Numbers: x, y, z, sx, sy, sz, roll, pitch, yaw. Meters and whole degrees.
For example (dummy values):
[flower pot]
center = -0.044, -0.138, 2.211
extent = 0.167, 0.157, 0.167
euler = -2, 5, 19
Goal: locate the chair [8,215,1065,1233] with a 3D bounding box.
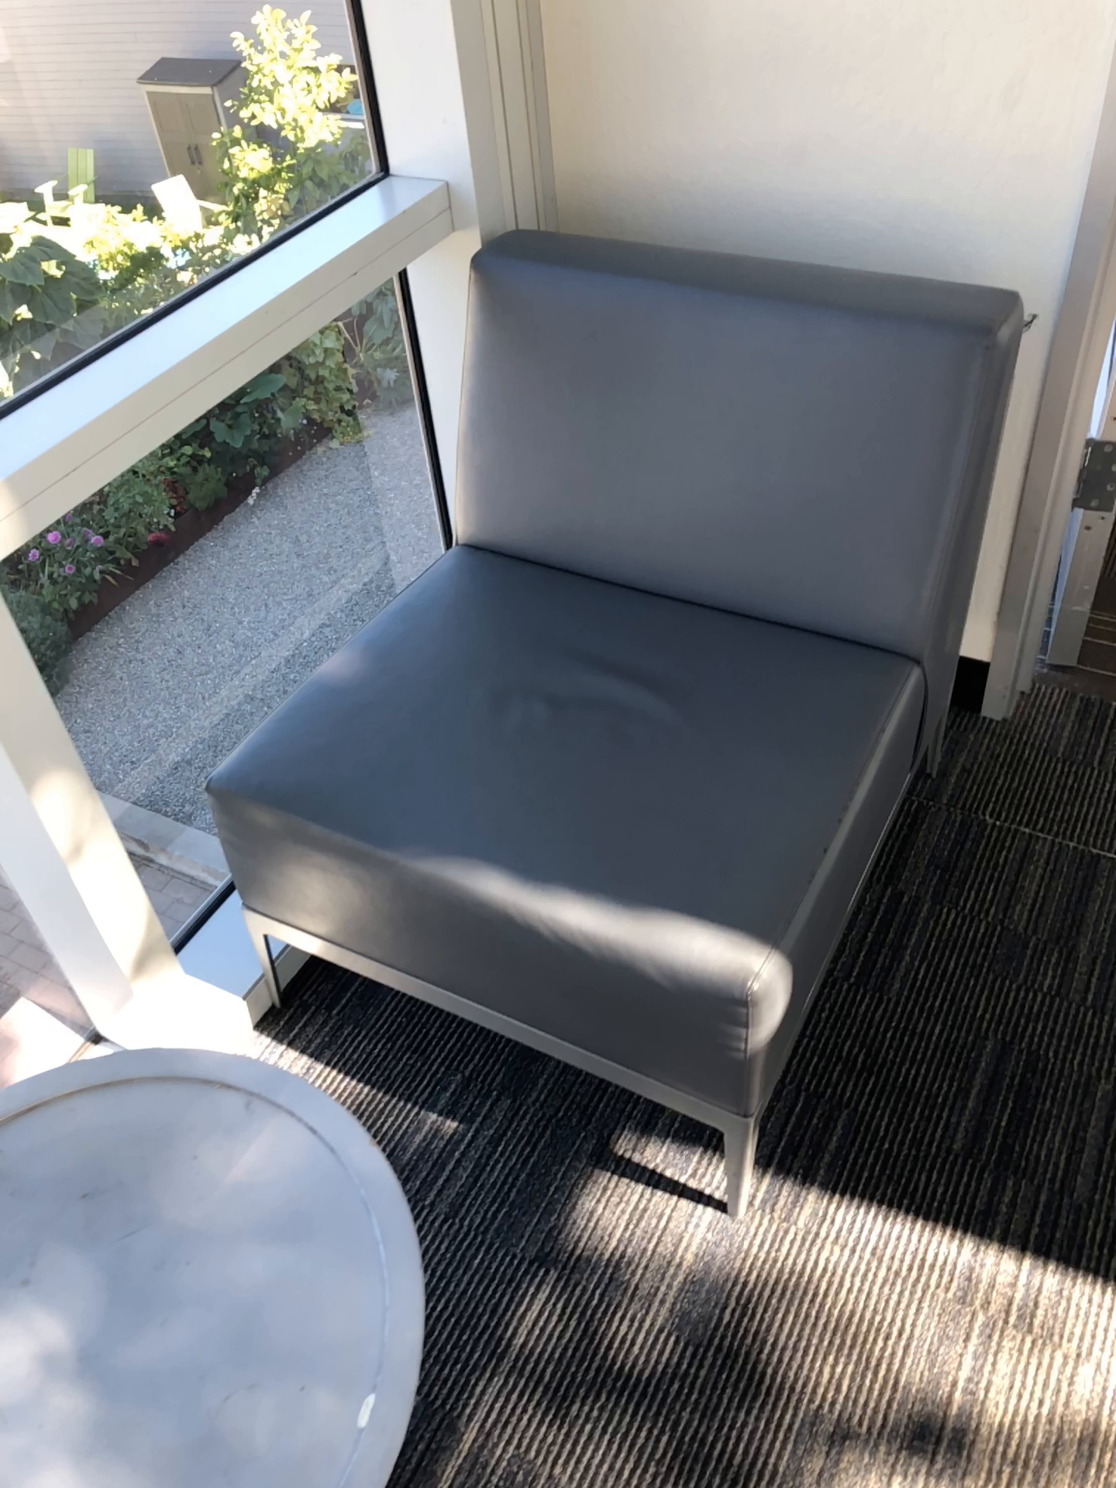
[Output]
[chair]
center = 0.040, -0.086, 1.444
extent = 0.772, 0.707, 0.752
euler = 18, 48, 24
